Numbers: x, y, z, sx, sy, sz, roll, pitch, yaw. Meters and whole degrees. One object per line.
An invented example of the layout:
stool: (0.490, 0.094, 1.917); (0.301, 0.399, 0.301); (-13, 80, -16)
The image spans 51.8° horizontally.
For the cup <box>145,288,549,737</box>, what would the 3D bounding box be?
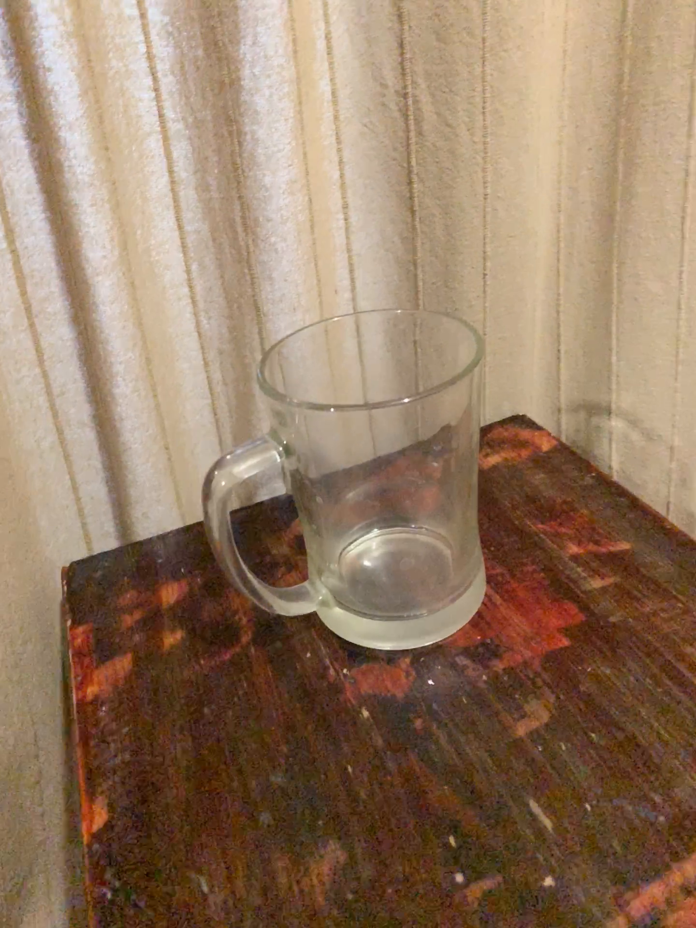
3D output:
cup: (0.008, 0.011, 0.340); (0.143, 0.135, 0.101); (-29, 37, -32)
